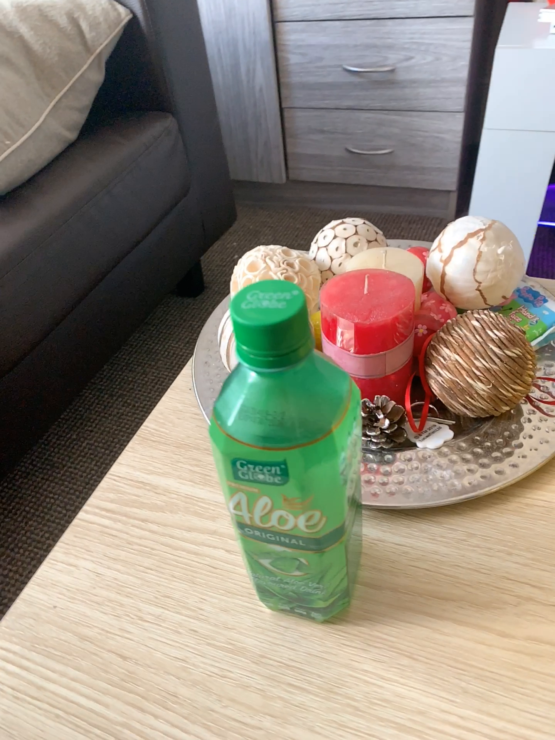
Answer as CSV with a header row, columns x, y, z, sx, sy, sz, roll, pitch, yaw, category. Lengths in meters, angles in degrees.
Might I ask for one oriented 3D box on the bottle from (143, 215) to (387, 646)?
x,y,z,sx,sy,sz,roll,pitch,yaw,category
0.009,0.044,0.277,0.070,0.218,0.071,-4,41,4,bottle
